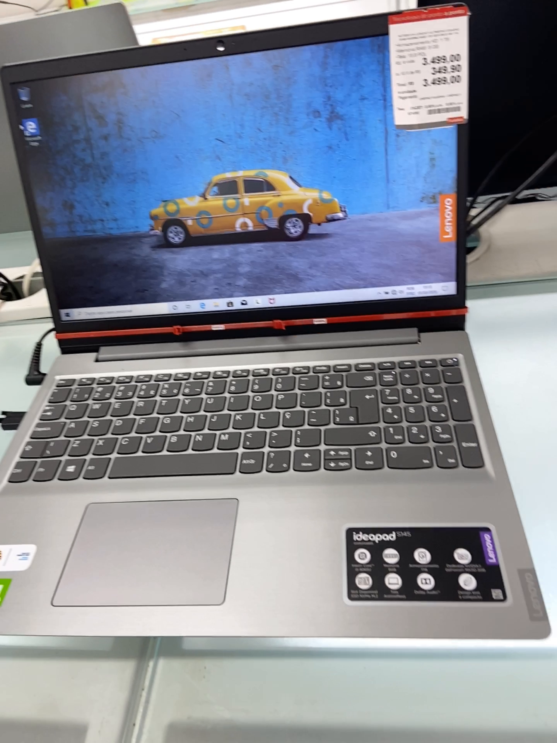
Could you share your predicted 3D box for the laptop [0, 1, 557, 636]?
[{"bbox_3d":[-0.045,-0.055,0.377,0.364,0.214,0.353,-3,42,9],"label":"laptop"}]
